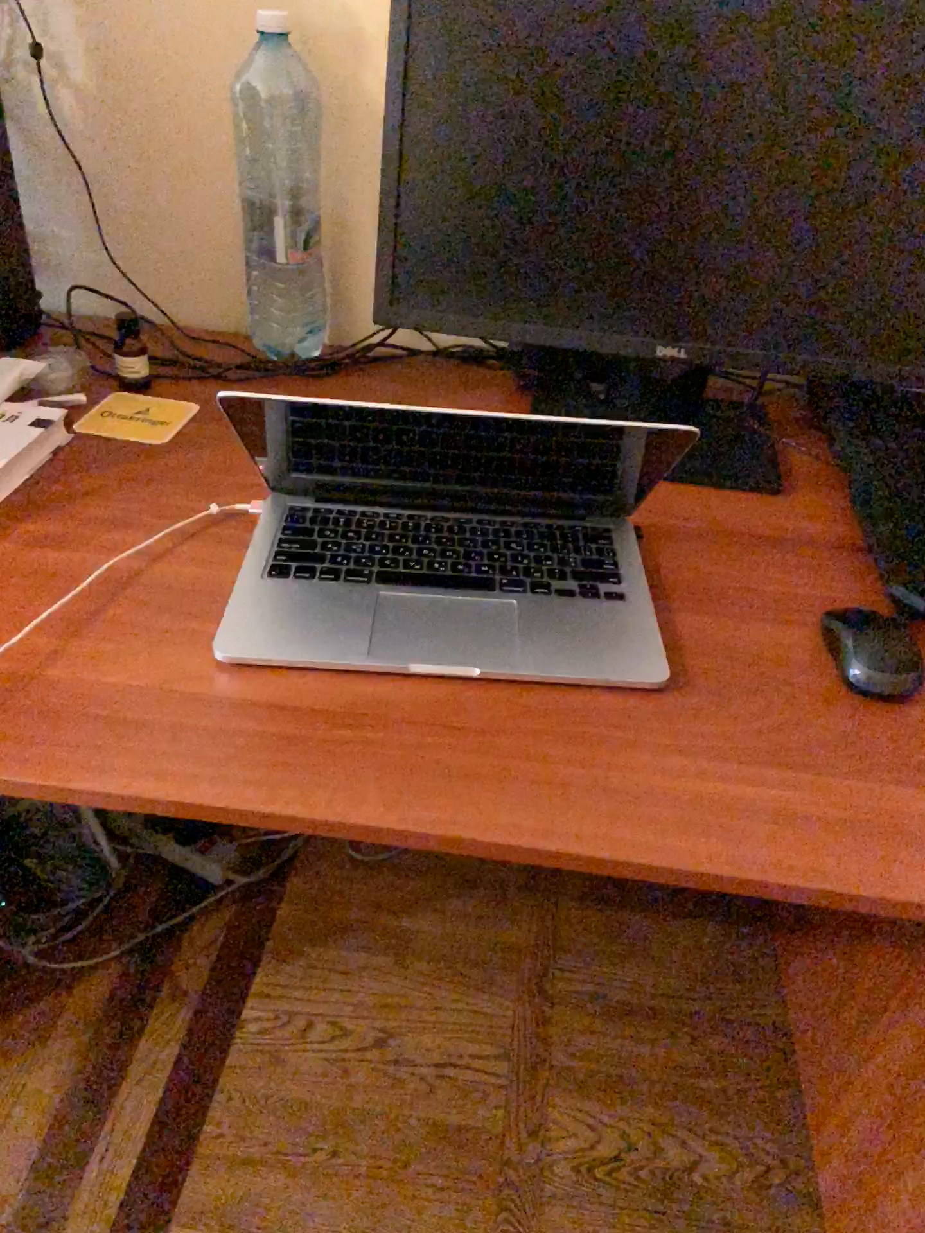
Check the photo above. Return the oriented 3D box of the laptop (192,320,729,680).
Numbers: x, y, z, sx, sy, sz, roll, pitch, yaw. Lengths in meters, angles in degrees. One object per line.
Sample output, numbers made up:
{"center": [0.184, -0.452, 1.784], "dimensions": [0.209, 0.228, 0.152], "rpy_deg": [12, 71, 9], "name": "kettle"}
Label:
{"center": [-0.004, -0.088, 0.657], "dimensions": [0.306, 0.148, 0.205], "rpy_deg": [4, 37, -2], "name": "laptop"}
